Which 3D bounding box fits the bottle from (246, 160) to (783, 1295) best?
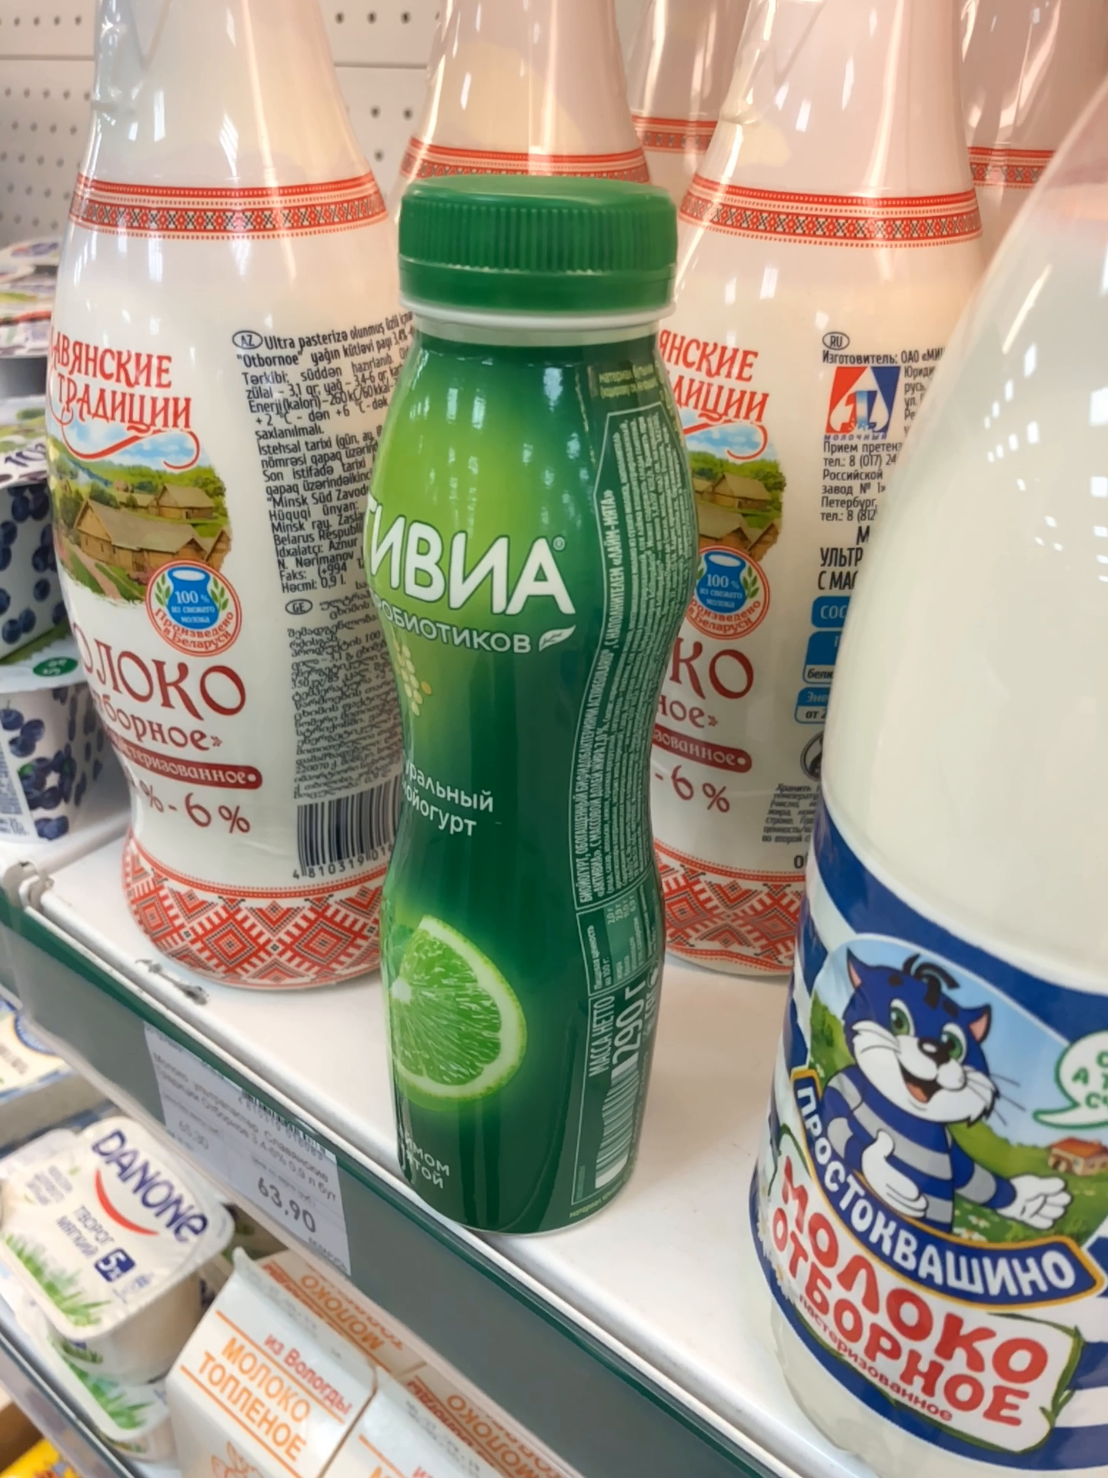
[{"bbox_3d":[-0.008,0.003,0.210,0.052,0.179,0.053,1,28,-1],"label":"bottle"}]
